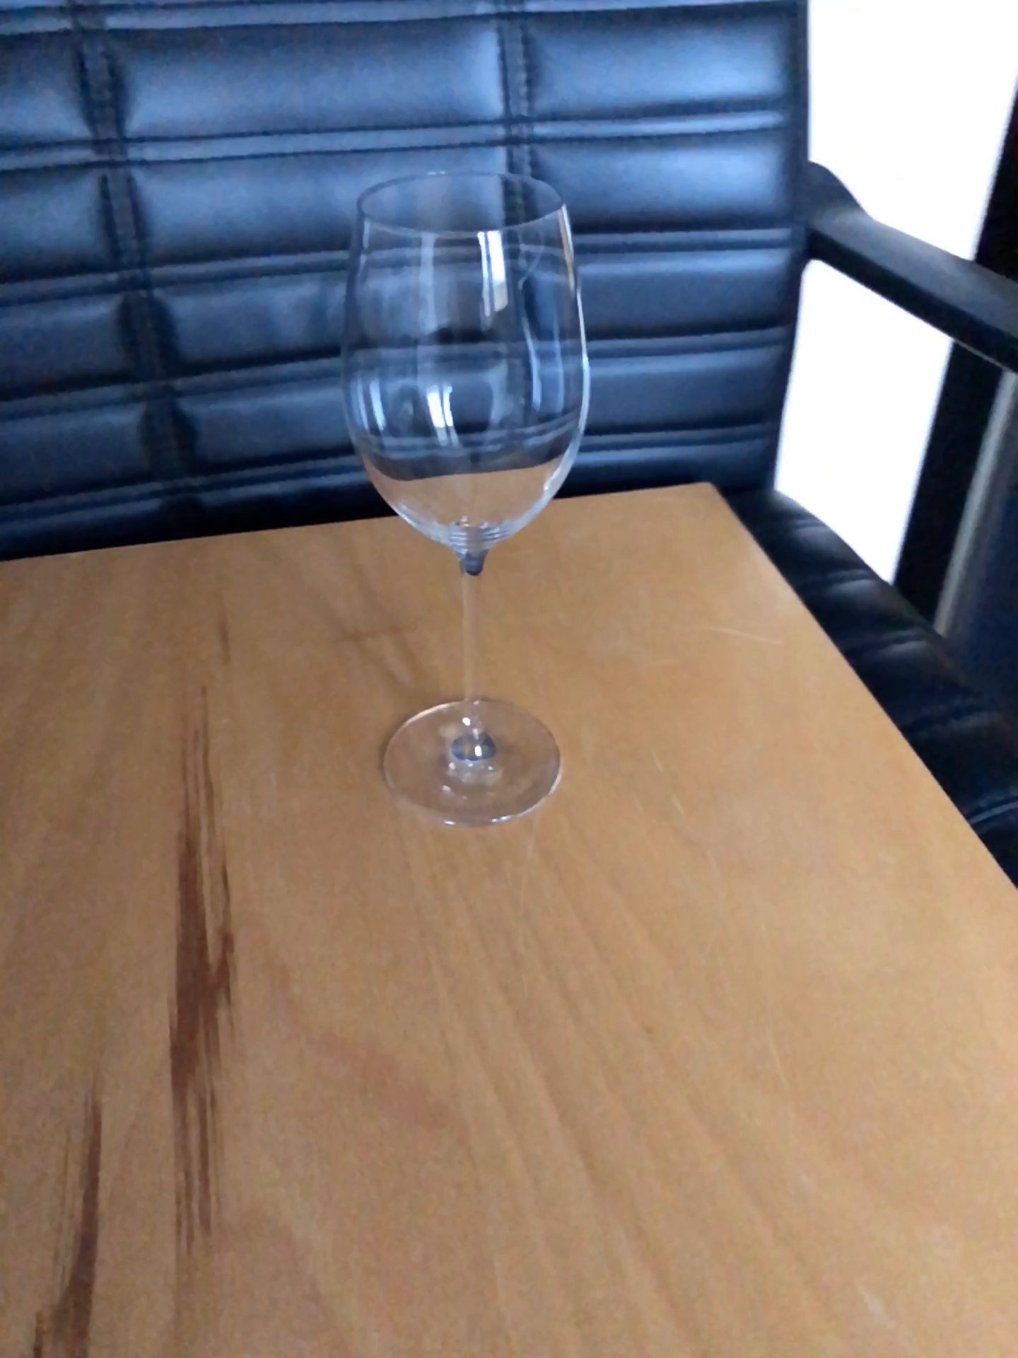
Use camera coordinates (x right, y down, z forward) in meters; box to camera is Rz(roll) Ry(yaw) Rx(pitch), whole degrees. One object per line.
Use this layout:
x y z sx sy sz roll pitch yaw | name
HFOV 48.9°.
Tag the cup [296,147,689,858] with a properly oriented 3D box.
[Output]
-0.001 -0.054 0.392 0.089 0.218 0.090 0 39 0 | cup
